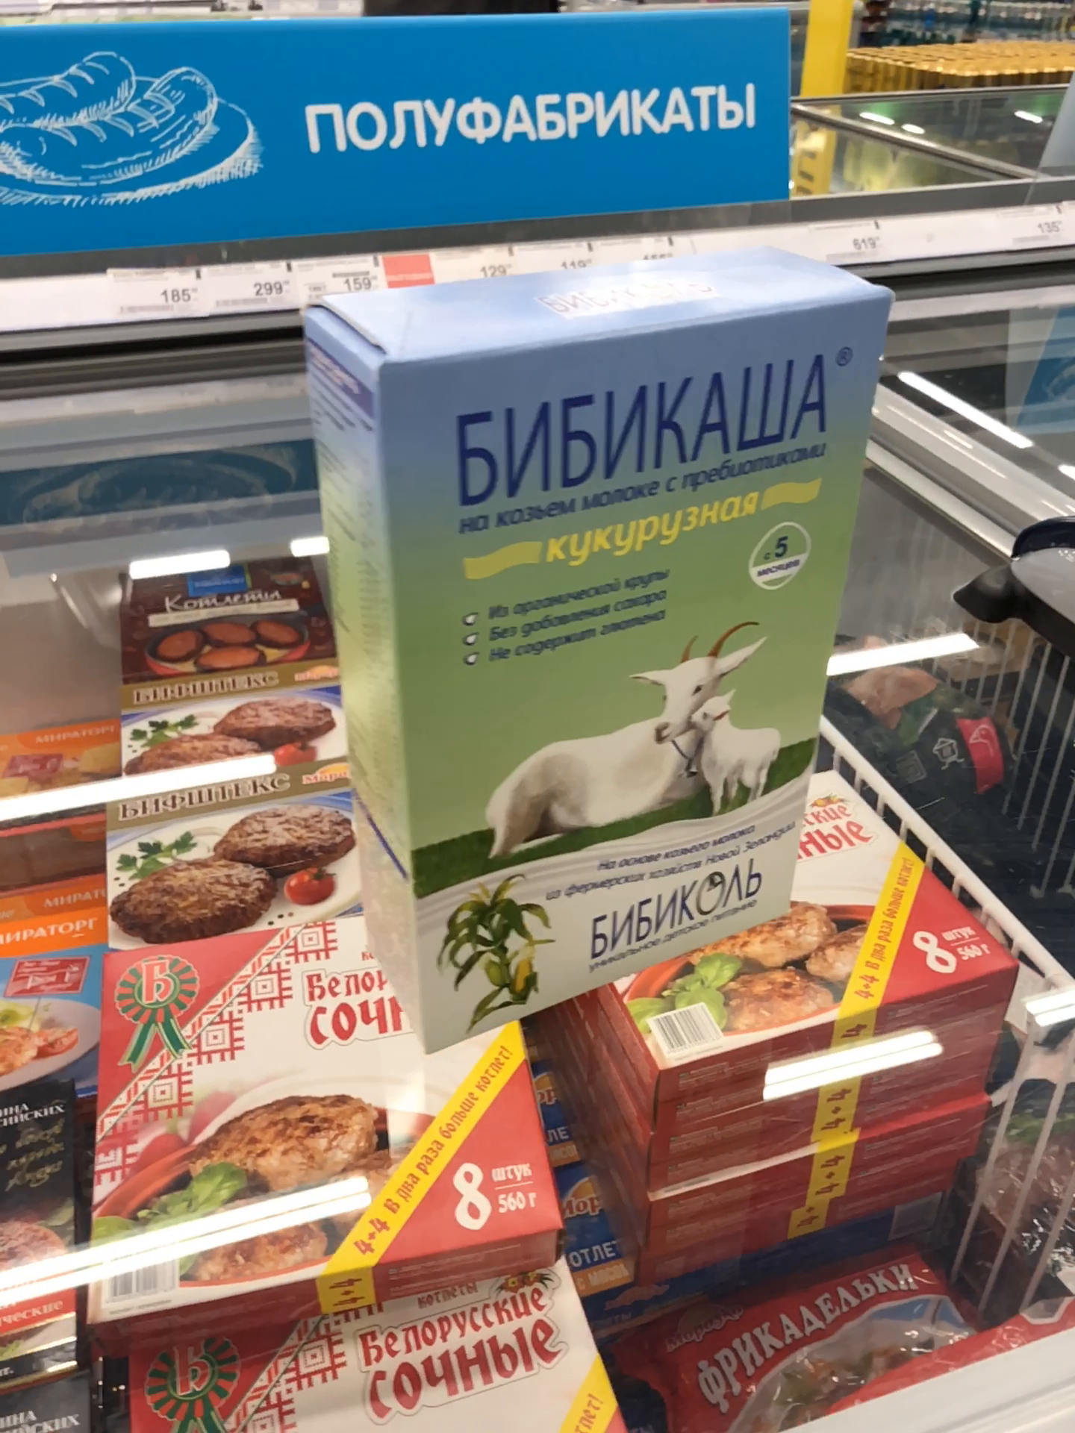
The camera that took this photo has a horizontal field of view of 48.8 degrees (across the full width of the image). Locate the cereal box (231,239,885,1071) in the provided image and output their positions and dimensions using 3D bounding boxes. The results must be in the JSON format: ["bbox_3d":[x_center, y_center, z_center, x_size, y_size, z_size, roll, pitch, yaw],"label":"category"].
[{"bbox_3d":[0.006,-0.013,0.322,0.140,0.199,0.050,-15,37,-22],"label":"cereal box"}]
